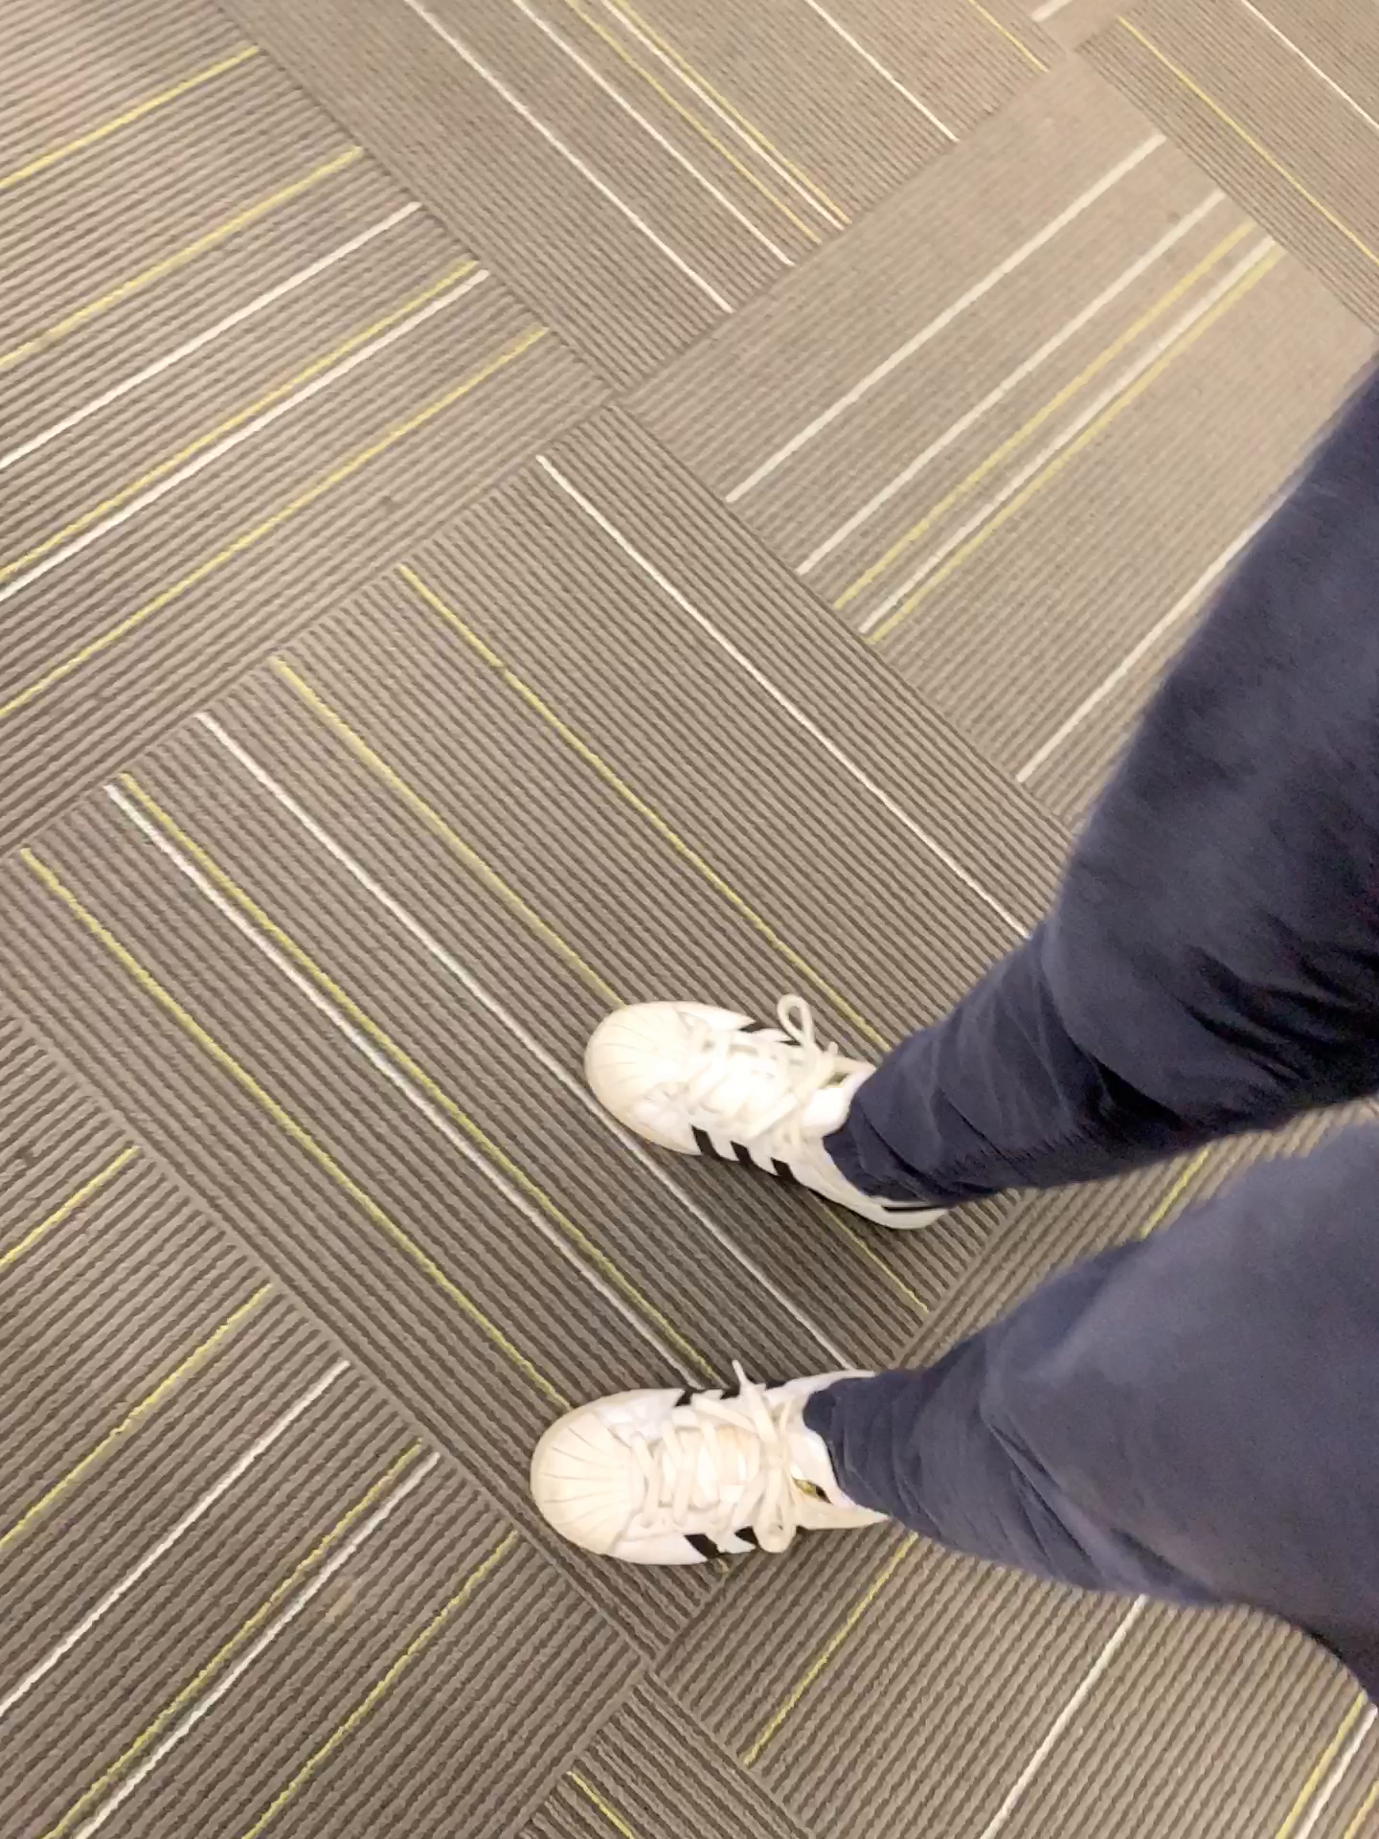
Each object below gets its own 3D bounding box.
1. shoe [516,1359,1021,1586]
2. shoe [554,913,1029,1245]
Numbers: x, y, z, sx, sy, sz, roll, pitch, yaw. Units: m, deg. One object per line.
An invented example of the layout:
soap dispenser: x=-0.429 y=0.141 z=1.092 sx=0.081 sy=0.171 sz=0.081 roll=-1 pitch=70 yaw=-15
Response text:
shoe: x=0.040 y=0.307 z=0.802 sx=0.262 sy=0.104 sz=0.108 roll=4 pitch=72 yaw=-13
shoe: x=0.061 y=0.105 z=0.881 sx=0.258 sy=0.104 sz=0.105 roll=21 pitch=69 yaw=-7
